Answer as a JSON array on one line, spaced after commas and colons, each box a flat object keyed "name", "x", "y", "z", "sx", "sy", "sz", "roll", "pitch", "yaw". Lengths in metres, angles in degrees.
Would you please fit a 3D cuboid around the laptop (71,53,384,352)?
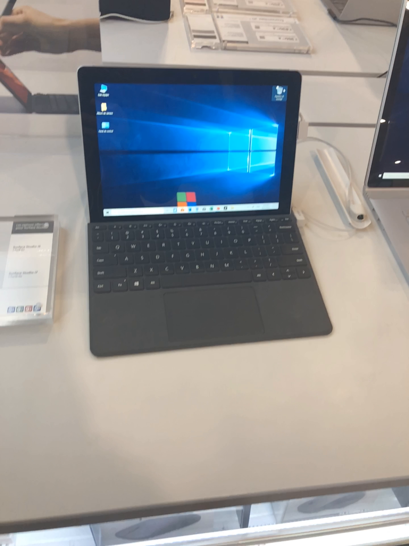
[{"name": "laptop", "x": -0.002, "y": -0.079, "z": 0.460, "sx": 0.236, "sy": 0.140, "sz": 0.251, "roll": -4, "pitch": 55, "yaw": -13}]
